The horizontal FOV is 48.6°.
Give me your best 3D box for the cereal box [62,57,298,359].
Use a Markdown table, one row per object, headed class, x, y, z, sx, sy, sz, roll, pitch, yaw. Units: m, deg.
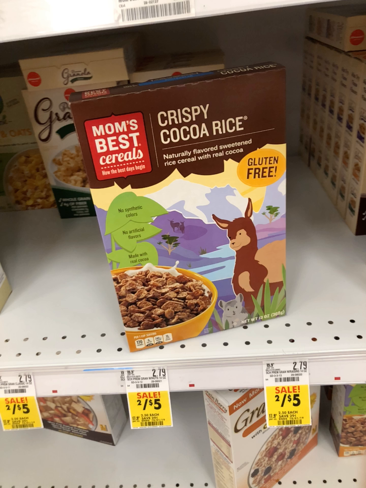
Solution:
| class | x | y | z | sx | sy | sz | roll | pitch | yaw |
| --- | --- | --- | --- | --- | --- | --- | --- | --- | --- |
| cereal box | 0.011 | -0.032 | 0.436 | 0.200 | 0.279 | 0.080 | -12 | 28 | -7 |
